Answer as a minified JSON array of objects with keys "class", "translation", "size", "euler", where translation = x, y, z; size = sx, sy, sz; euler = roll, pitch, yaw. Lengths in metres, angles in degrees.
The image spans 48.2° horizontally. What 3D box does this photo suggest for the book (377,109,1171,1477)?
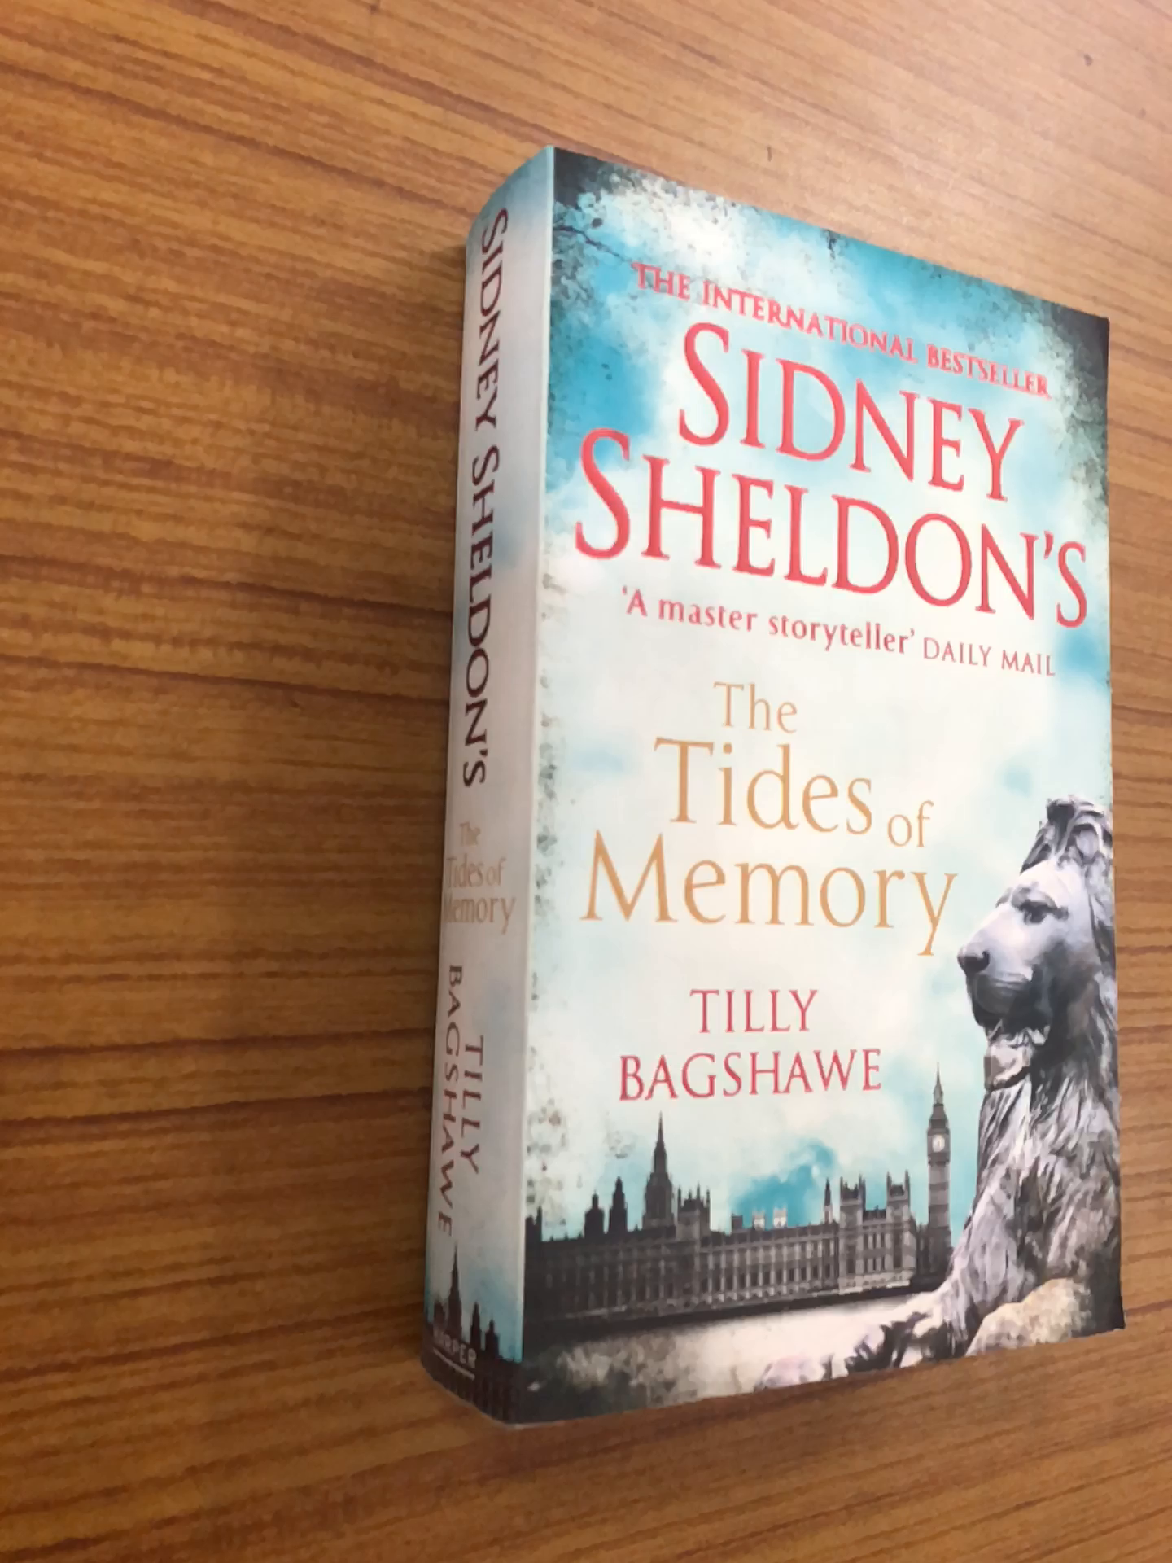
[{"class":"book","translation":[0.036,0.003,0.205],"size":[0.122,0.037,0.168],"euler":[5,83,-27]}]
